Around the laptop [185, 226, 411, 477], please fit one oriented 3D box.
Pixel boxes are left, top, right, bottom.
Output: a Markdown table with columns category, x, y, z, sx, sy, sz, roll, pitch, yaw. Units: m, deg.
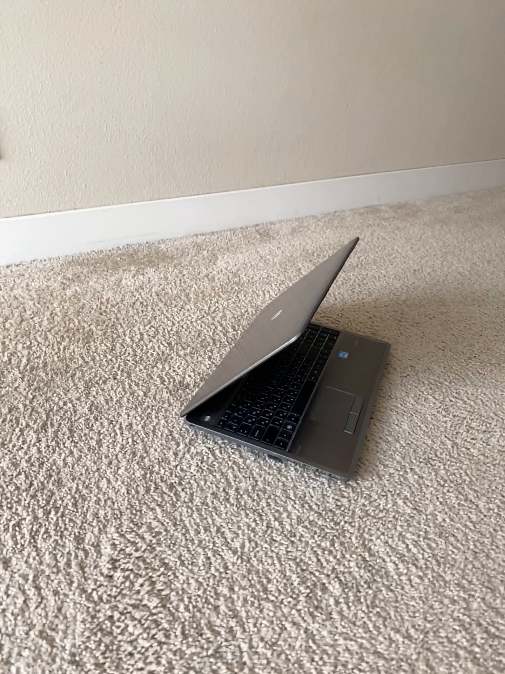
| category | x | y | z | sx | sy | sz | roll | pitch | yaw |
| --- | --- | --- | --- | --- | --- | --- | --- | --- | --- |
| laptop | 0.088 | -0.010 | 0.826 | 0.254 | 0.186 | 0.370 | 15 | 32 | 15 |
